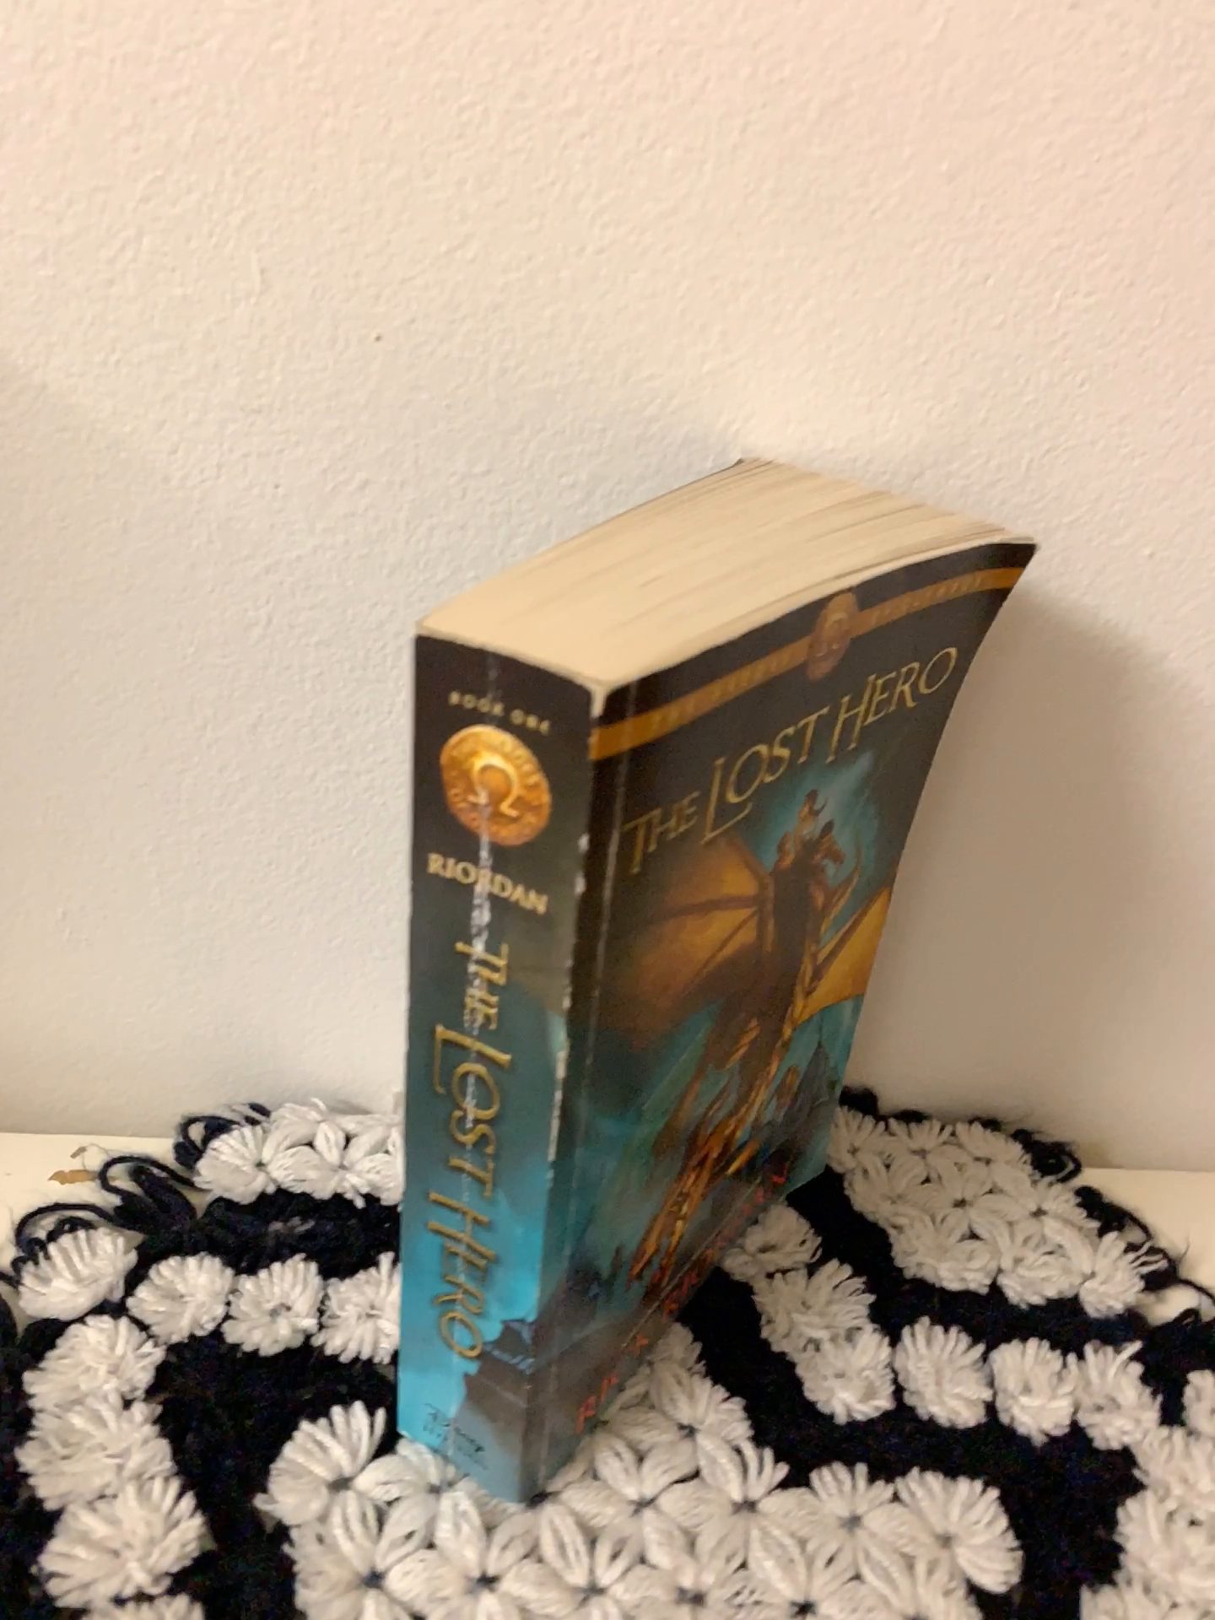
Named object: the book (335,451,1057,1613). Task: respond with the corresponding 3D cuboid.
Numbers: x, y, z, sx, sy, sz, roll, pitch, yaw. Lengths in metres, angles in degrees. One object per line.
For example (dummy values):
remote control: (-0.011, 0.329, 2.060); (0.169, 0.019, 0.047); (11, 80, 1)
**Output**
book: (0.022, 0.032, 0.260); (0.068, 0.177, 0.142); (18, 30, 27)
